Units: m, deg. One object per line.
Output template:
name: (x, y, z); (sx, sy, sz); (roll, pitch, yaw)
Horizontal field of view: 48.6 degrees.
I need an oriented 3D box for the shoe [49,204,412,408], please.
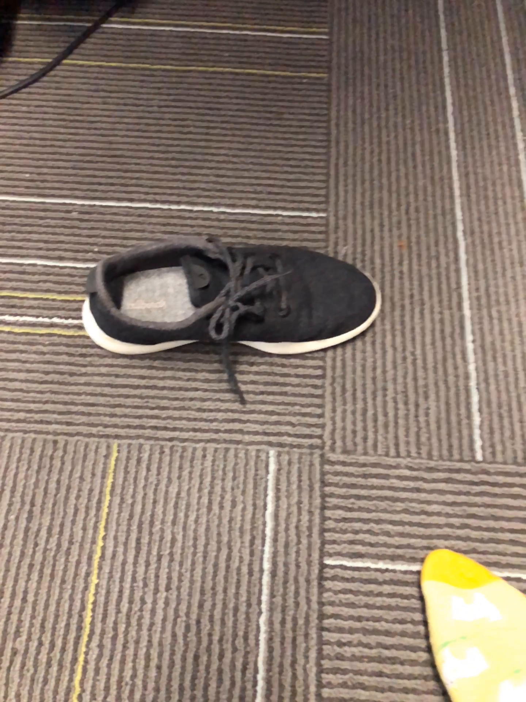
shoe: (-0.030, -0.040, 0.503); (0.280, 0.060, 0.140); (-5, 67, -2)
